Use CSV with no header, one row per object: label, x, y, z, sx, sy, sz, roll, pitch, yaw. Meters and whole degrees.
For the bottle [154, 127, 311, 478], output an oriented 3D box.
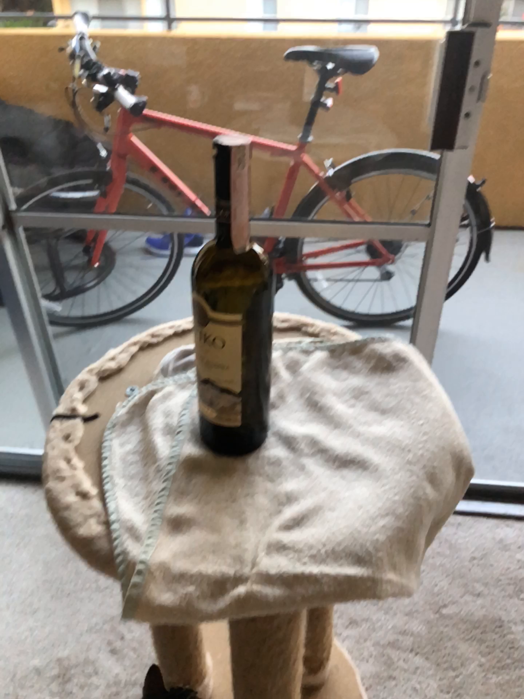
bottle,-0.020,-0.029,0.477,0.080,0.269,0.080,-1,35,0
